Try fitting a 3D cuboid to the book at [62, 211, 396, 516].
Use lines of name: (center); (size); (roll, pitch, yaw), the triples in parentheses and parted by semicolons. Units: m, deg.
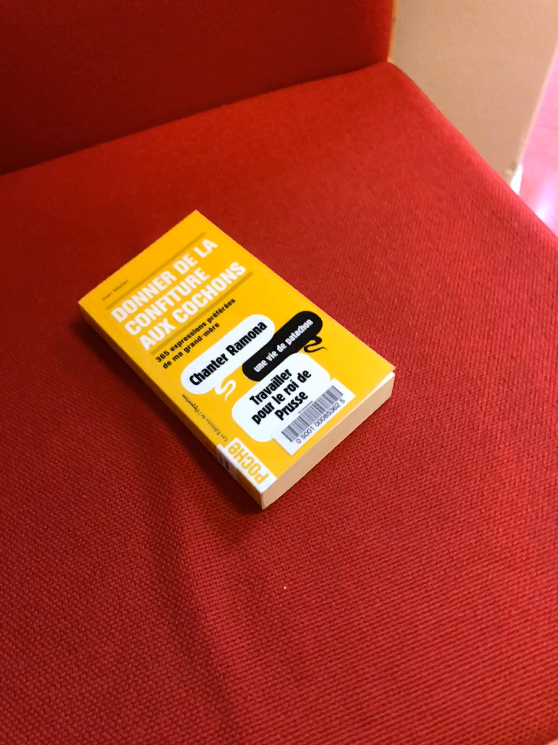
book: (-0.034, -0.017, 0.374); (0.107, 0.030, 0.180); (-40, 61, -18)
